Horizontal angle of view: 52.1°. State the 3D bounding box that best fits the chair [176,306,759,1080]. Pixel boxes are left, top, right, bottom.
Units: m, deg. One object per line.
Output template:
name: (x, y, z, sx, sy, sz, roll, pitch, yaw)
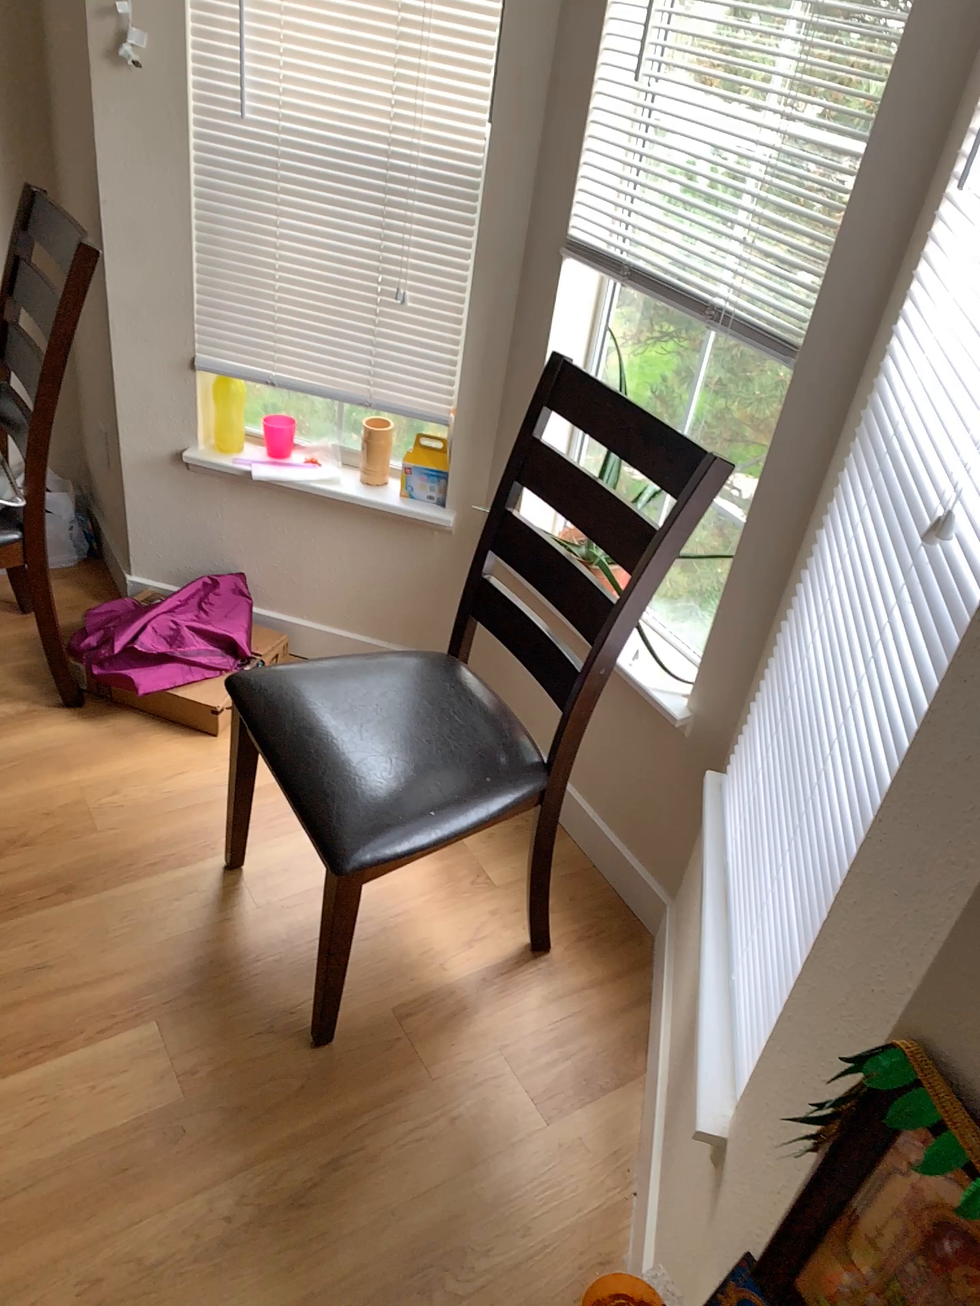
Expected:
chair: (-0.112, 0.040, 1.540, 0.541, 0.945, 0.562, -13, 40, -30)
